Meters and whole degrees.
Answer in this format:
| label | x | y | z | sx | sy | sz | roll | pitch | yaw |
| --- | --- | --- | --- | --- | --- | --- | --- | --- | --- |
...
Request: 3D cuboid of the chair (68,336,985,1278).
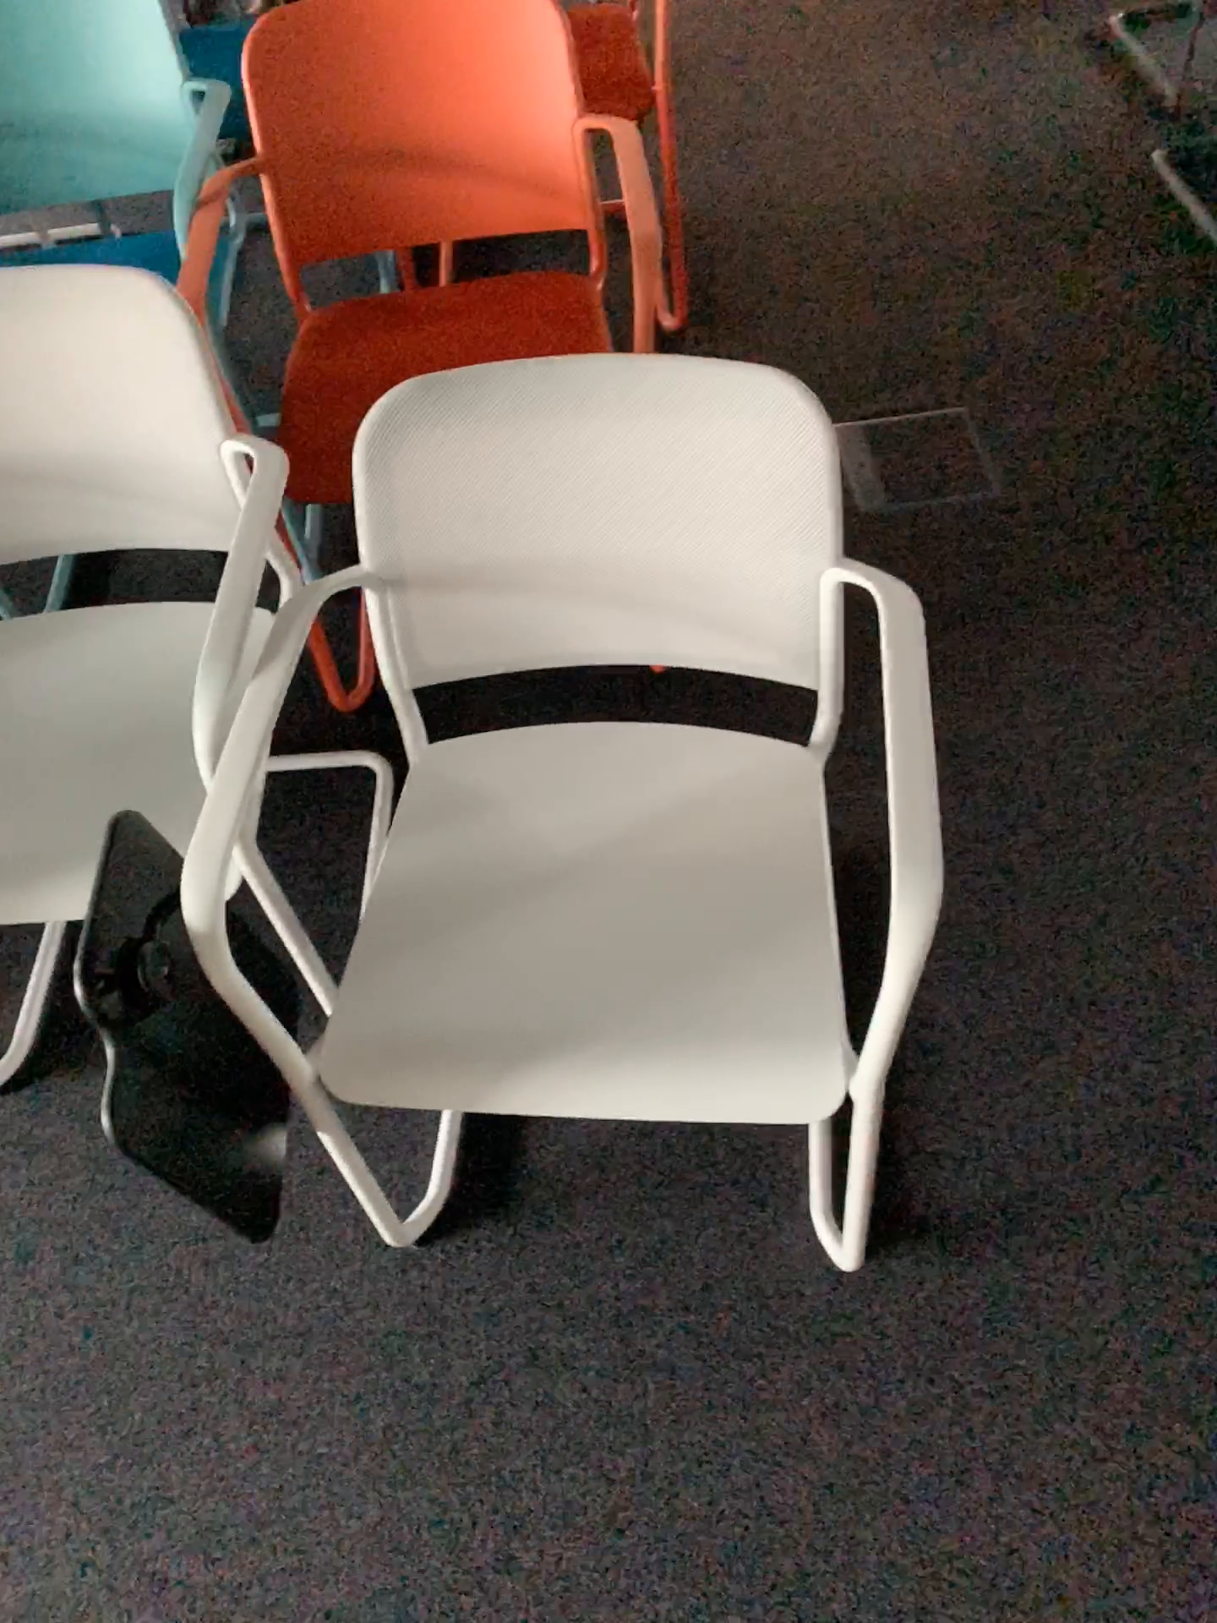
| label | x | y | z | sx | sy | sz | roll | pitch | yaw |
| --- | --- | --- | --- | --- | --- | --- | --- | --- | --- |
| chair | -0.004 | 0.046 | 1.211 | 0.560 | 0.757 | 0.552 | 0 | 54 | 7 |
